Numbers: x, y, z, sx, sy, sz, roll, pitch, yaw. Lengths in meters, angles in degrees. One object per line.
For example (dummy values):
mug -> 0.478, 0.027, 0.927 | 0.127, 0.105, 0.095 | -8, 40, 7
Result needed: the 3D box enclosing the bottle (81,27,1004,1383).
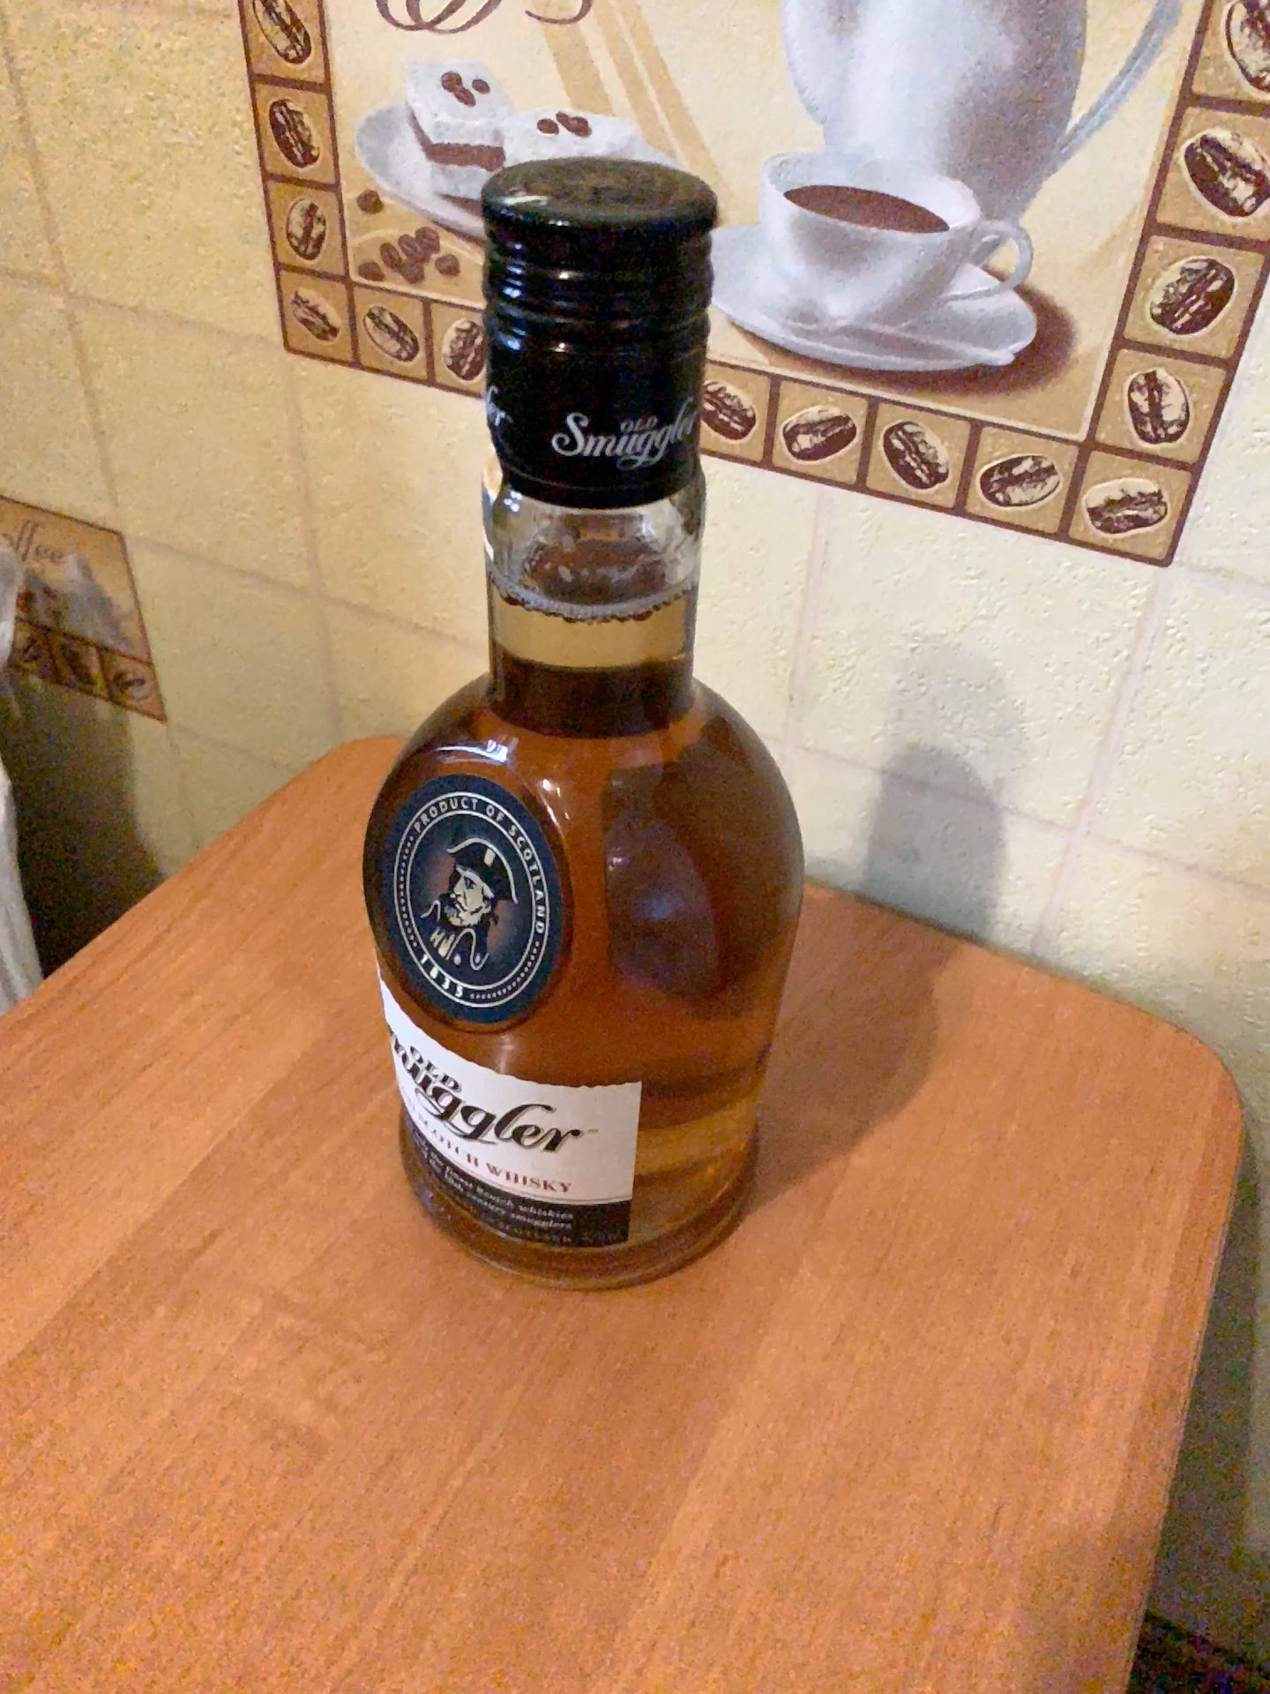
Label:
bottle -> -0.018, -0.014, 0.255 | 0.100, 0.229, 0.080 | 32, 48, 30
